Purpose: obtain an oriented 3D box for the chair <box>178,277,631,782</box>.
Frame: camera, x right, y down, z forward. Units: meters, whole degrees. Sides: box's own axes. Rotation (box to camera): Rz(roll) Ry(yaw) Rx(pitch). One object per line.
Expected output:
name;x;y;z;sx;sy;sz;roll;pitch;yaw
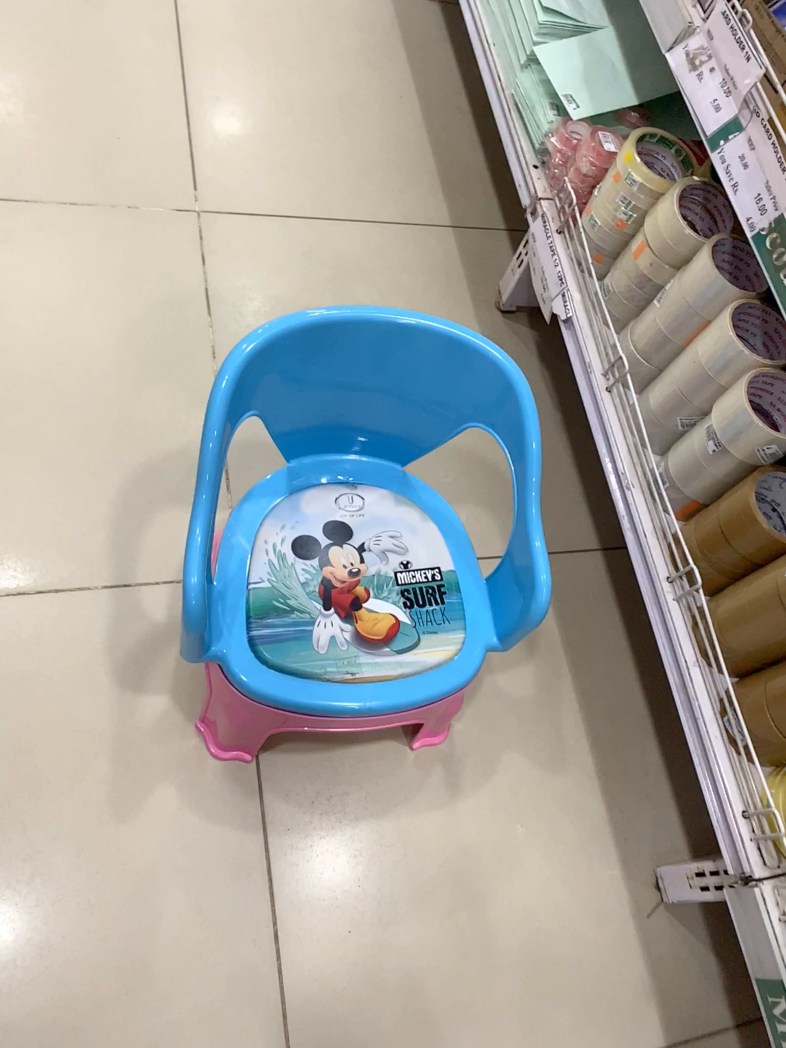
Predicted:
chair;-0.036;0.026;0.816;0.350;0.319;0.390;0;66;-15
